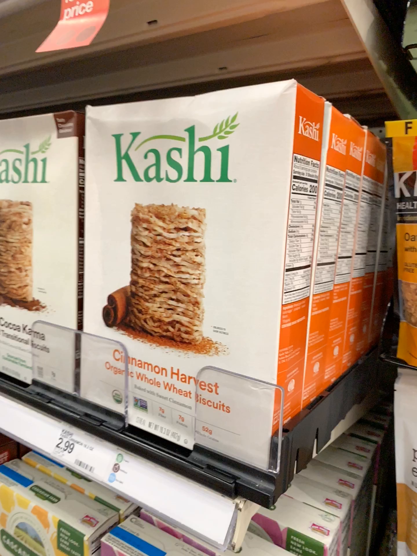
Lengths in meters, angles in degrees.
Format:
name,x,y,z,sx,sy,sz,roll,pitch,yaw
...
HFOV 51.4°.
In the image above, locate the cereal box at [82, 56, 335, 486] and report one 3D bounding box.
name,x,y,z,sx,sy,sz,roll,pitch,yaw
cereal box,-0.012,-0.010,0.361,0.190,0.280,0.070,8,9,34
